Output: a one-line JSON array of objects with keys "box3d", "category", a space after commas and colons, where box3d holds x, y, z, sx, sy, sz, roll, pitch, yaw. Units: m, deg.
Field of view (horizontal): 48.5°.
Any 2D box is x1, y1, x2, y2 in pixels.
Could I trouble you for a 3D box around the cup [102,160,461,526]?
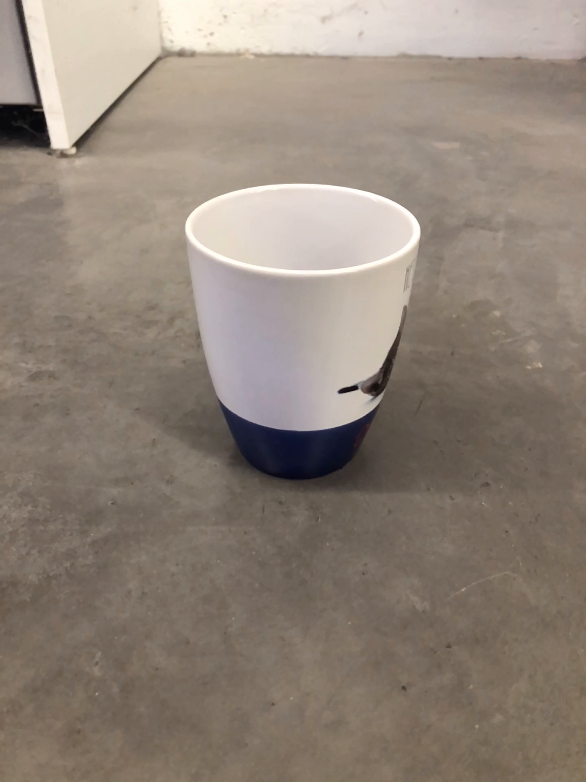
[{"box3d": [0.004, -0.032, 0.295, 0.111, 0.098, 0.128, 12, 36, 15], "category": "cup"}]
